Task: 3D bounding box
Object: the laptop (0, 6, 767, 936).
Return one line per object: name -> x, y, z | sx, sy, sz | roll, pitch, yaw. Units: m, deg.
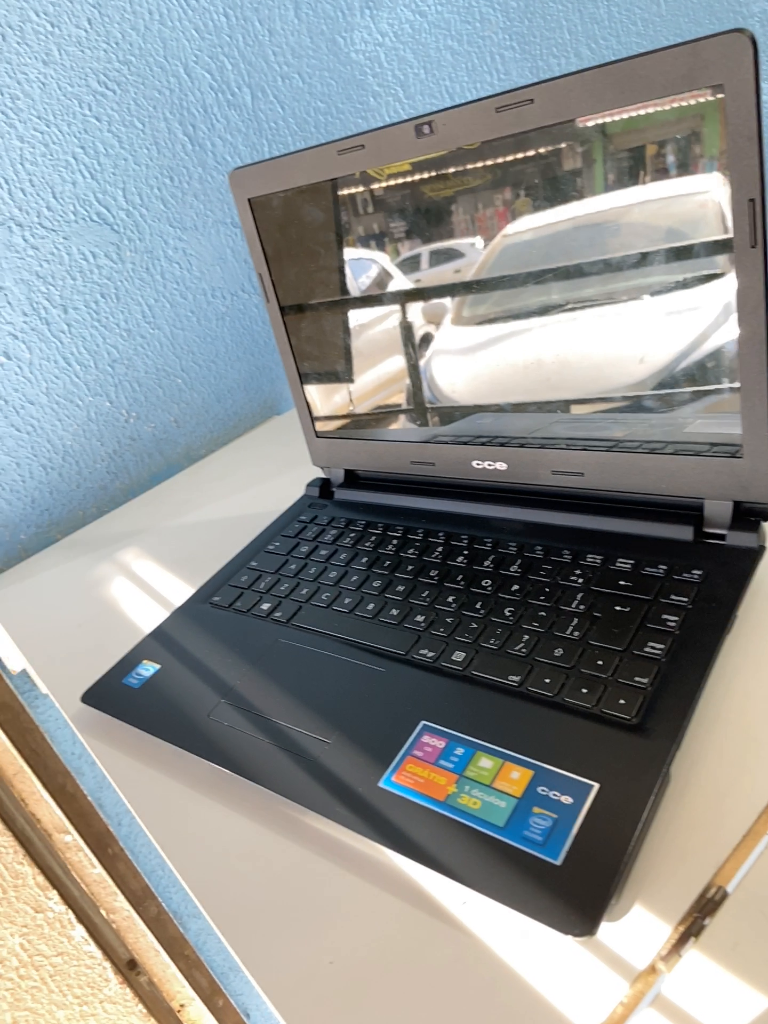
laptop -> -0.016, -0.043, 0.392 | 0.324, 0.216, 0.267 | 6, 39, 41
